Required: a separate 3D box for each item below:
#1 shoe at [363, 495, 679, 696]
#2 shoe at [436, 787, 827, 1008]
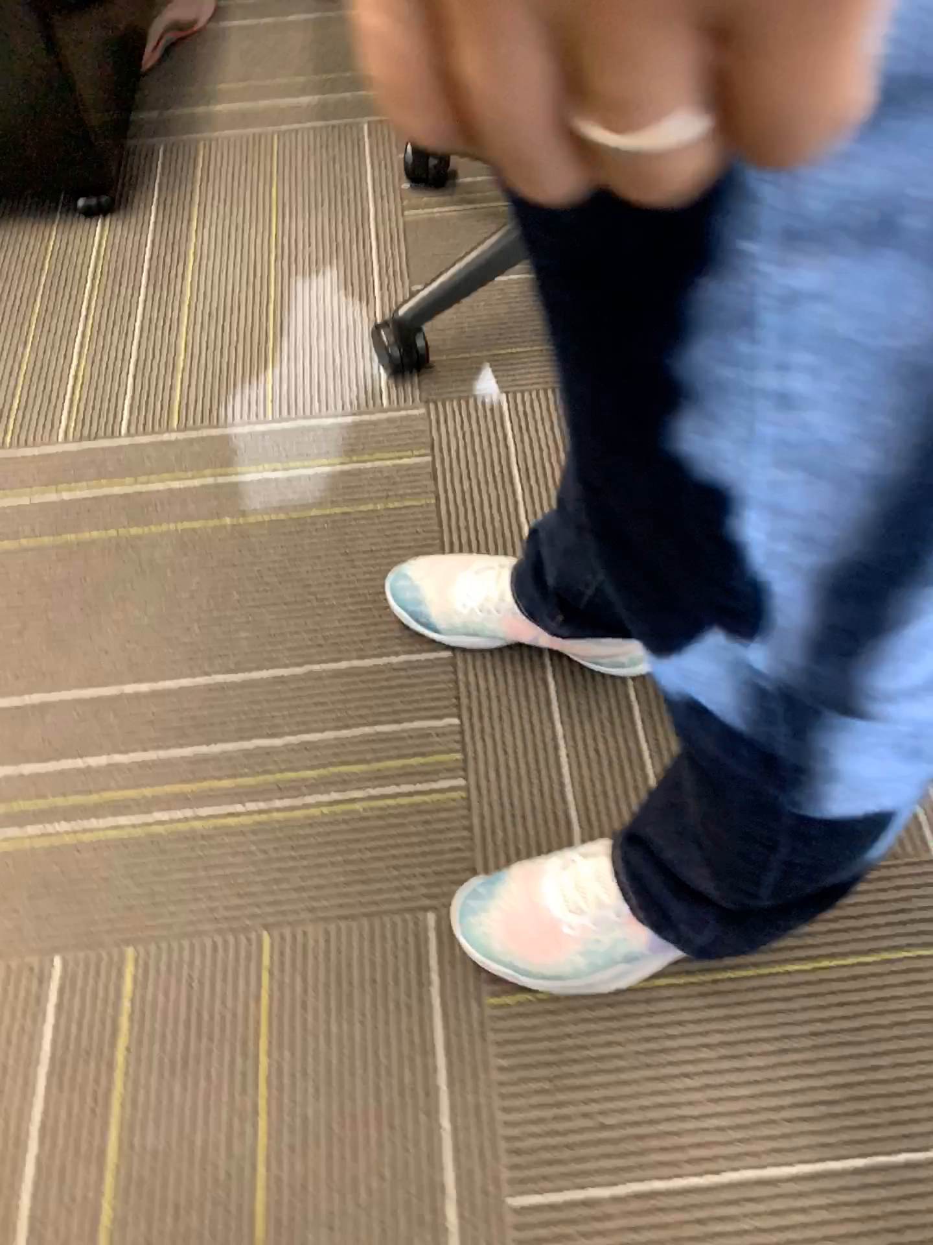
[{"bbox_3d":[0.055,-0.029,0.946,0.283,0.088,0.118,12,59,12],"label":"shoe"},{"bbox_3d":[0.128,0.229,0.789,0.289,0.078,0.123,-8,56,0],"label":"shoe"}]
